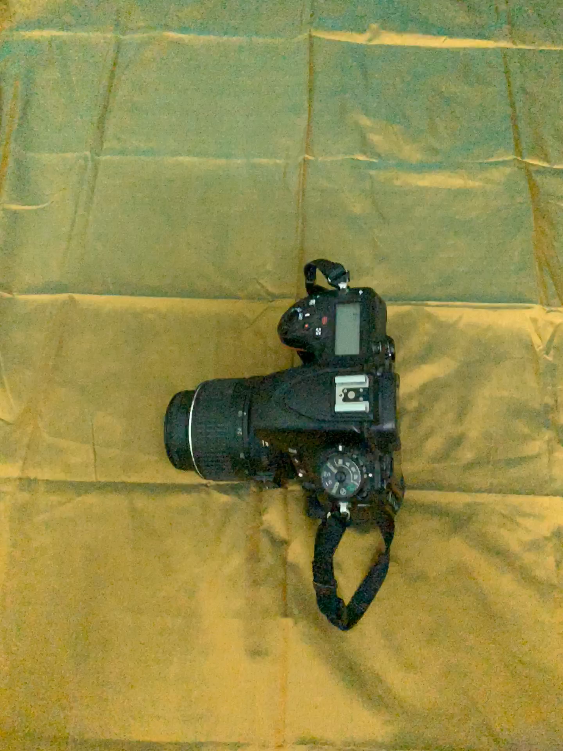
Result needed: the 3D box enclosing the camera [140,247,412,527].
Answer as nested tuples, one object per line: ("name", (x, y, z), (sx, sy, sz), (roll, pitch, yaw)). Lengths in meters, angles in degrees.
("camera", (0.008, 0.018, 0.368), (0.131, 0.120, 0.135), (-4, 67, 17))
